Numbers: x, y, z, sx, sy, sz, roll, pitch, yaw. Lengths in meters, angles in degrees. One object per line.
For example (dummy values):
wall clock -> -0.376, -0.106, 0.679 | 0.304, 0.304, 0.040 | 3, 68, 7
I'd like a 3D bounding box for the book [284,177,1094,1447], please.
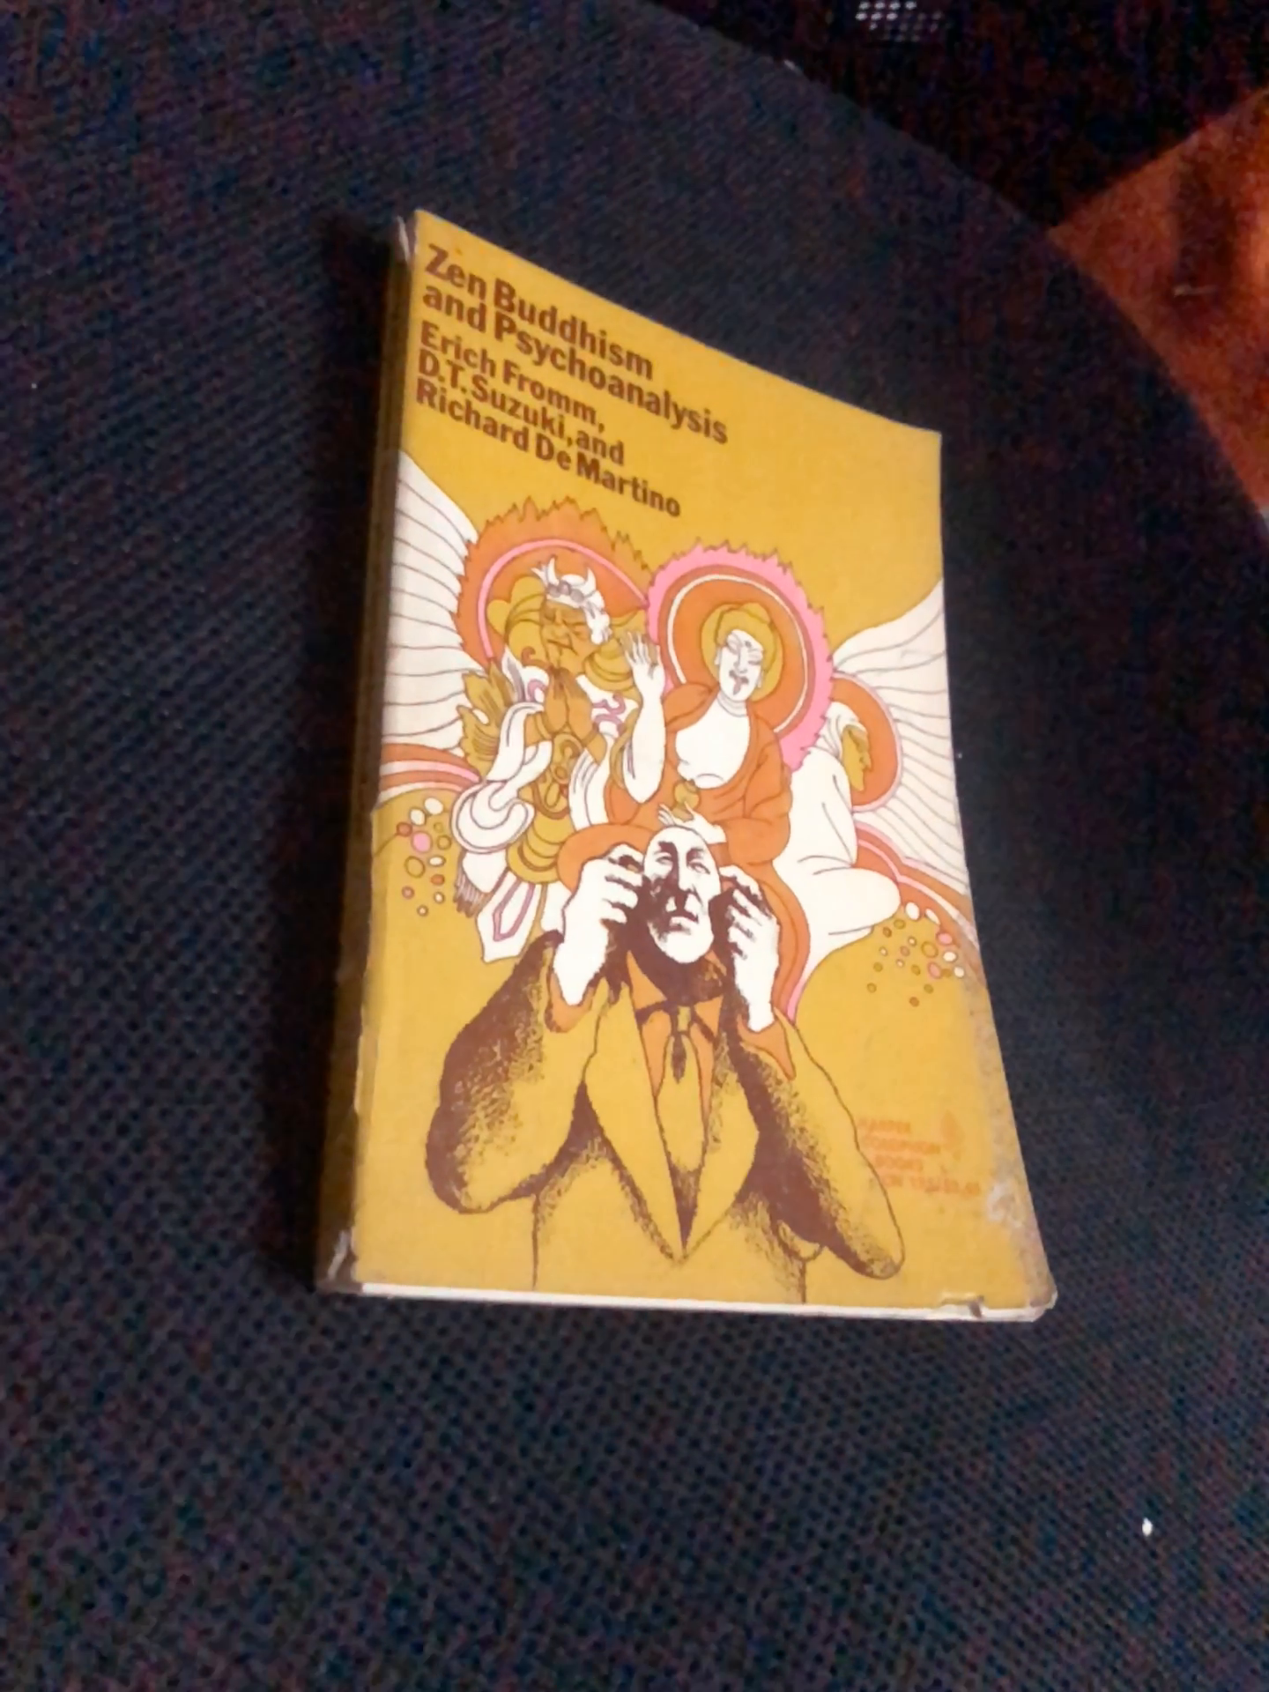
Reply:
book -> 0.009, -0.009, 0.250 | 0.137, 0.020, 0.200 | 9, 66, -32
